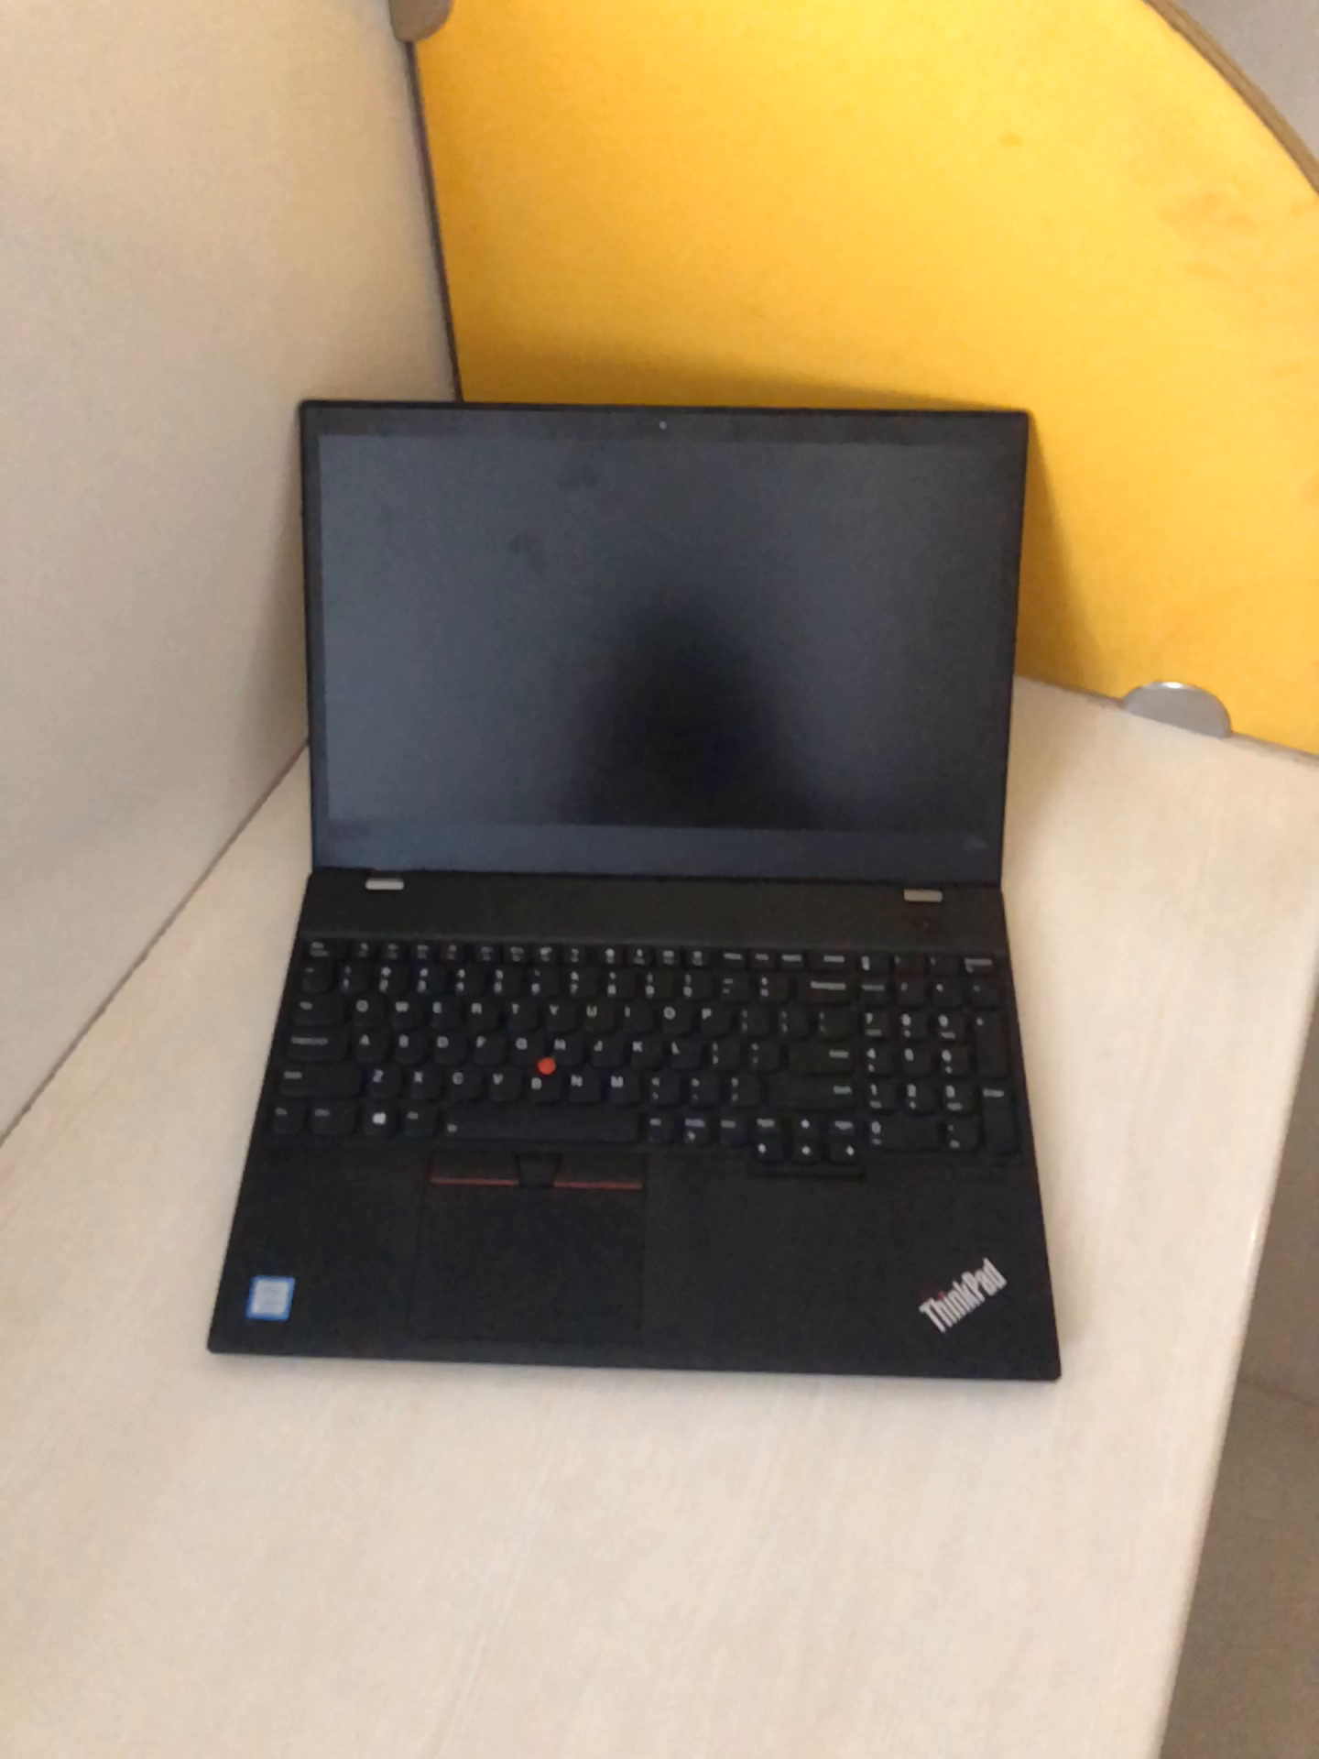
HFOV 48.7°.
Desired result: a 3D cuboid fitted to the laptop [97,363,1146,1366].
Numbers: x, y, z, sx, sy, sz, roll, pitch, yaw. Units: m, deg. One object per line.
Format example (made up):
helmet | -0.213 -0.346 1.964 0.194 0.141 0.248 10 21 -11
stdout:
laptop | -0.007 -0.027 0.655 0.344 0.150 0.422 2 56 1
